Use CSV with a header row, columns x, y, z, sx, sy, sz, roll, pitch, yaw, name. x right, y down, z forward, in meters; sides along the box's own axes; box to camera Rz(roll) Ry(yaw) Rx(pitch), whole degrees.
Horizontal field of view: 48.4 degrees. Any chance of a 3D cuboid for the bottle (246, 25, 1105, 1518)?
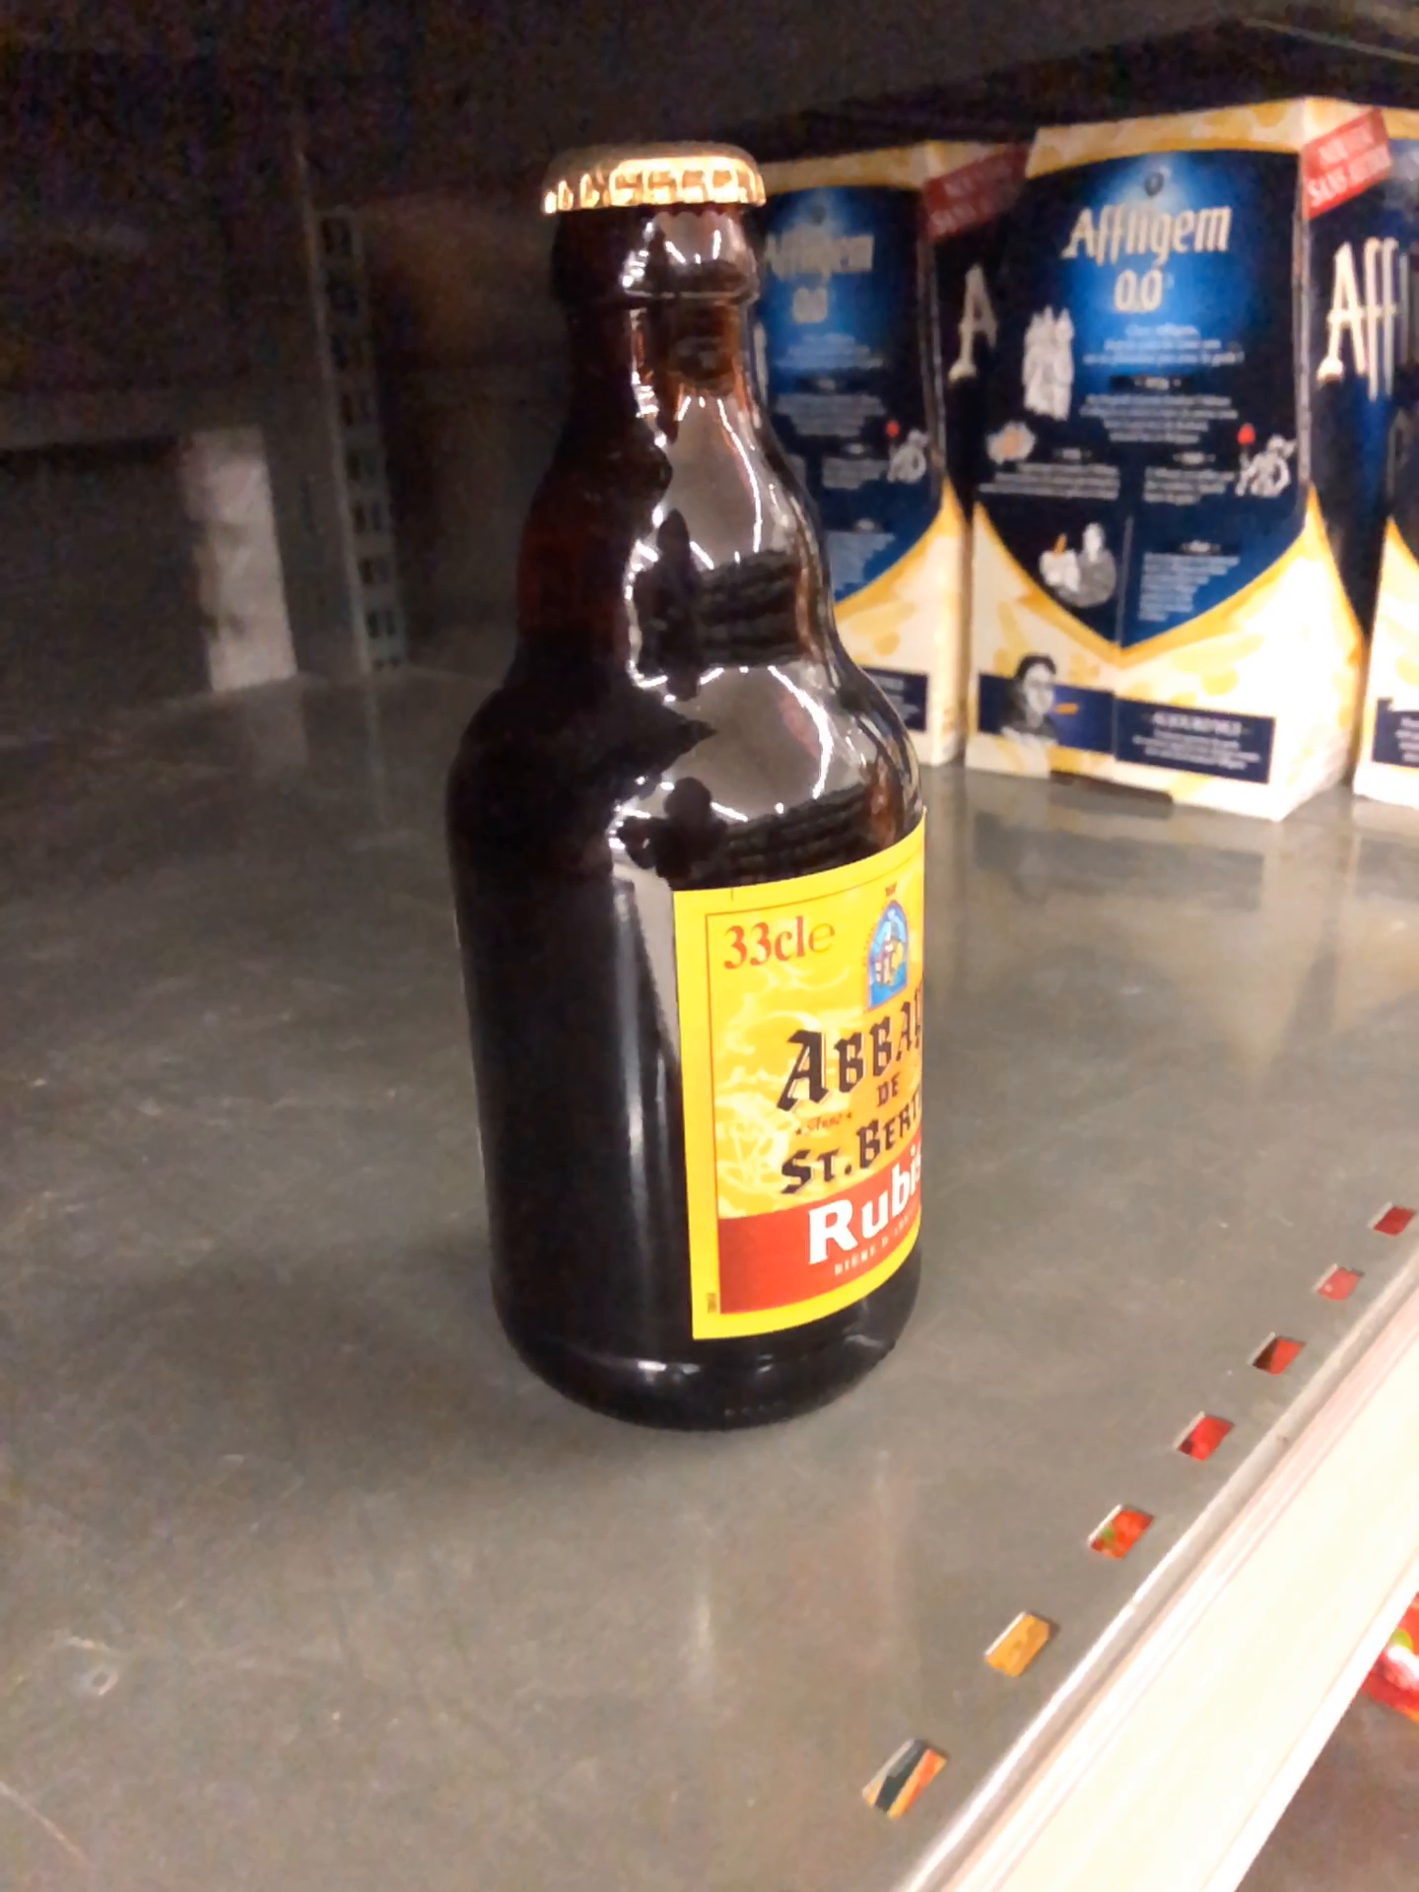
x,y,z,sx,sy,sz,roll,pitch,yaw,name
0.002,-0.025,0.224,0.070,0.169,0.080,15,27,39,bottle
